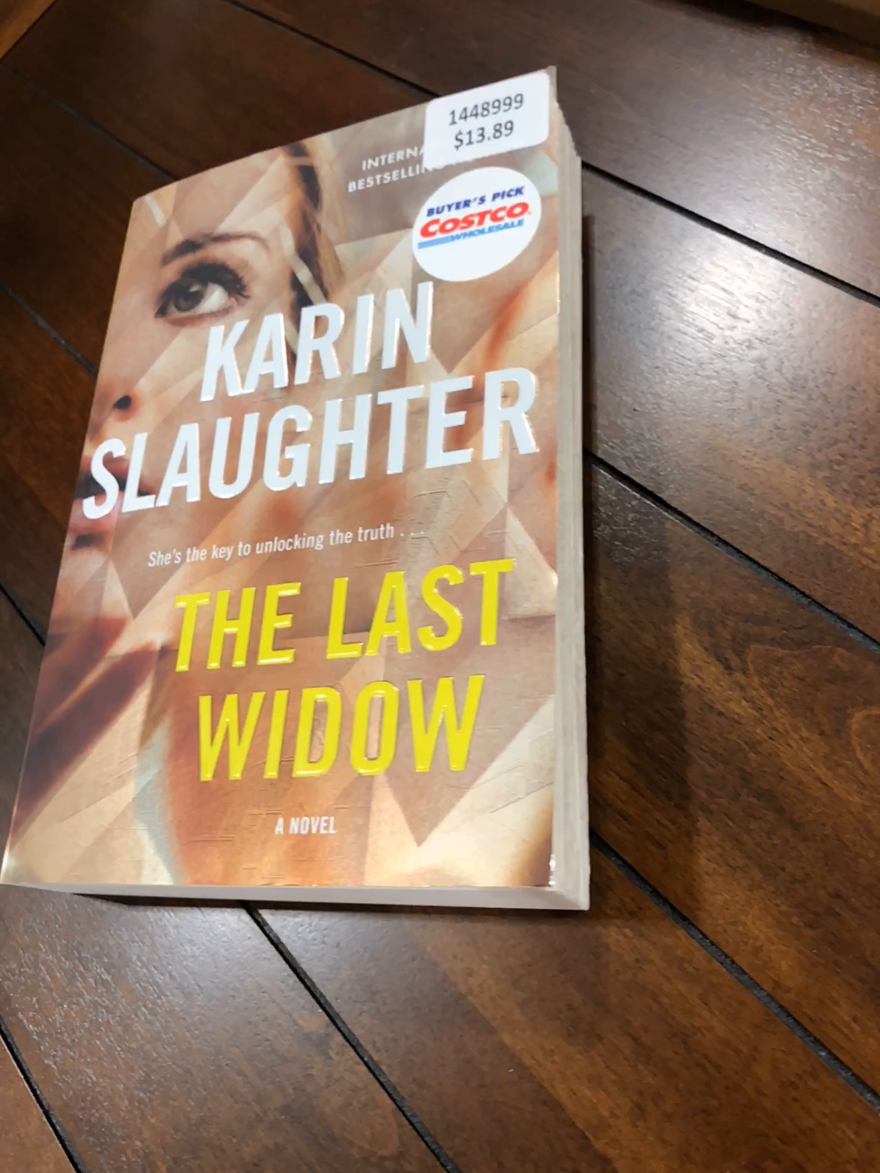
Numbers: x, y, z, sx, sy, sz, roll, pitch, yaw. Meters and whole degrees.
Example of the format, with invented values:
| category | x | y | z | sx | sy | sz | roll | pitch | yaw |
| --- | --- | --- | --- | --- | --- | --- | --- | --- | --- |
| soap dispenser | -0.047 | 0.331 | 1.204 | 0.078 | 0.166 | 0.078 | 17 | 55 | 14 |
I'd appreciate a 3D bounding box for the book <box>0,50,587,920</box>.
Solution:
| category | x | y | z | sx | sy | sz | roll | pitch | yaw |
| --- | --- | --- | --- | --- | --- | --- | --- | --- | --- |
| book | -0.039 | -0.030 | 0.283 | 0.154 | 0.042 | 0.230 | -6 | 66 | 23 |
